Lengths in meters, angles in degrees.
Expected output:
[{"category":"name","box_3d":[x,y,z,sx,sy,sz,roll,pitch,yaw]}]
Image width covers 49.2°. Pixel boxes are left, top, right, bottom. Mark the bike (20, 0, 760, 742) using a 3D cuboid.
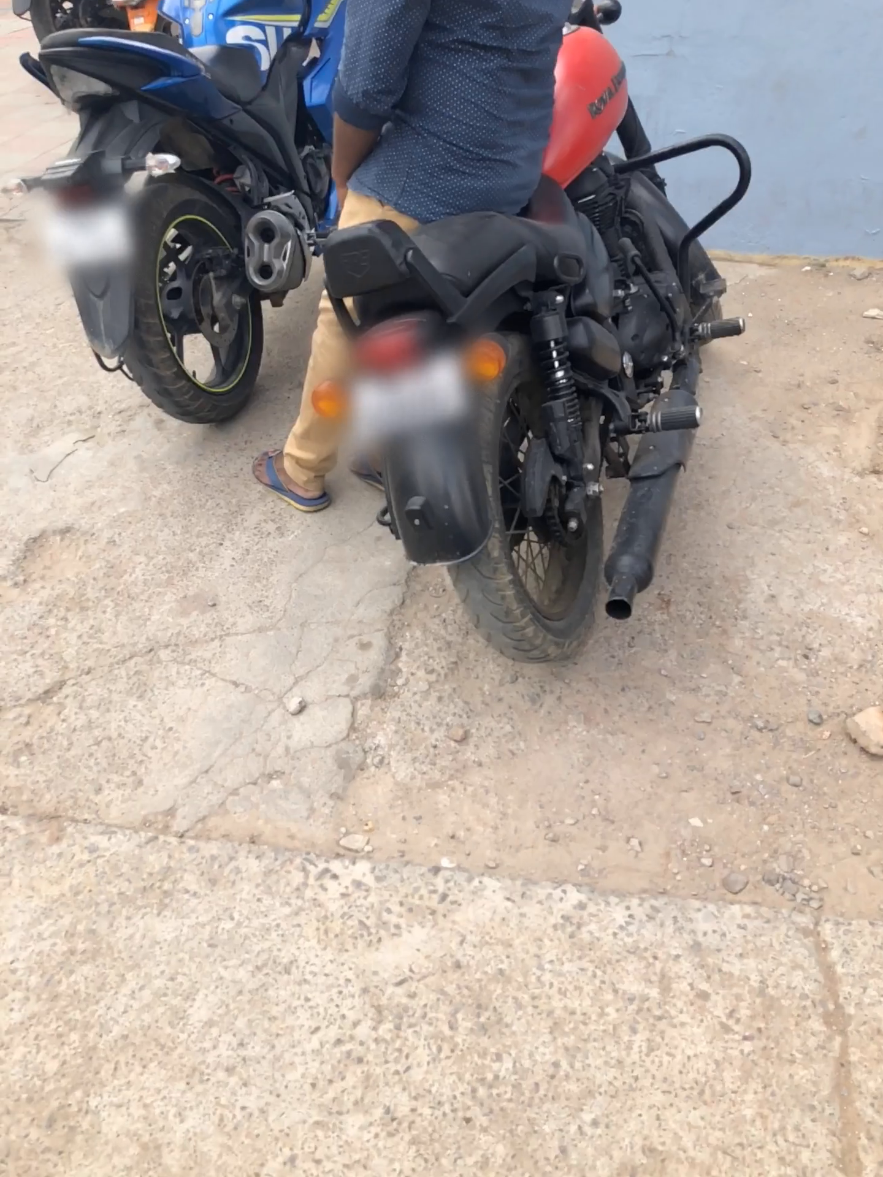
[{"category":"bike","box_3d":[0.076,-0.844,1.903,0.776,1.246,1.549,9,44,10]}]
